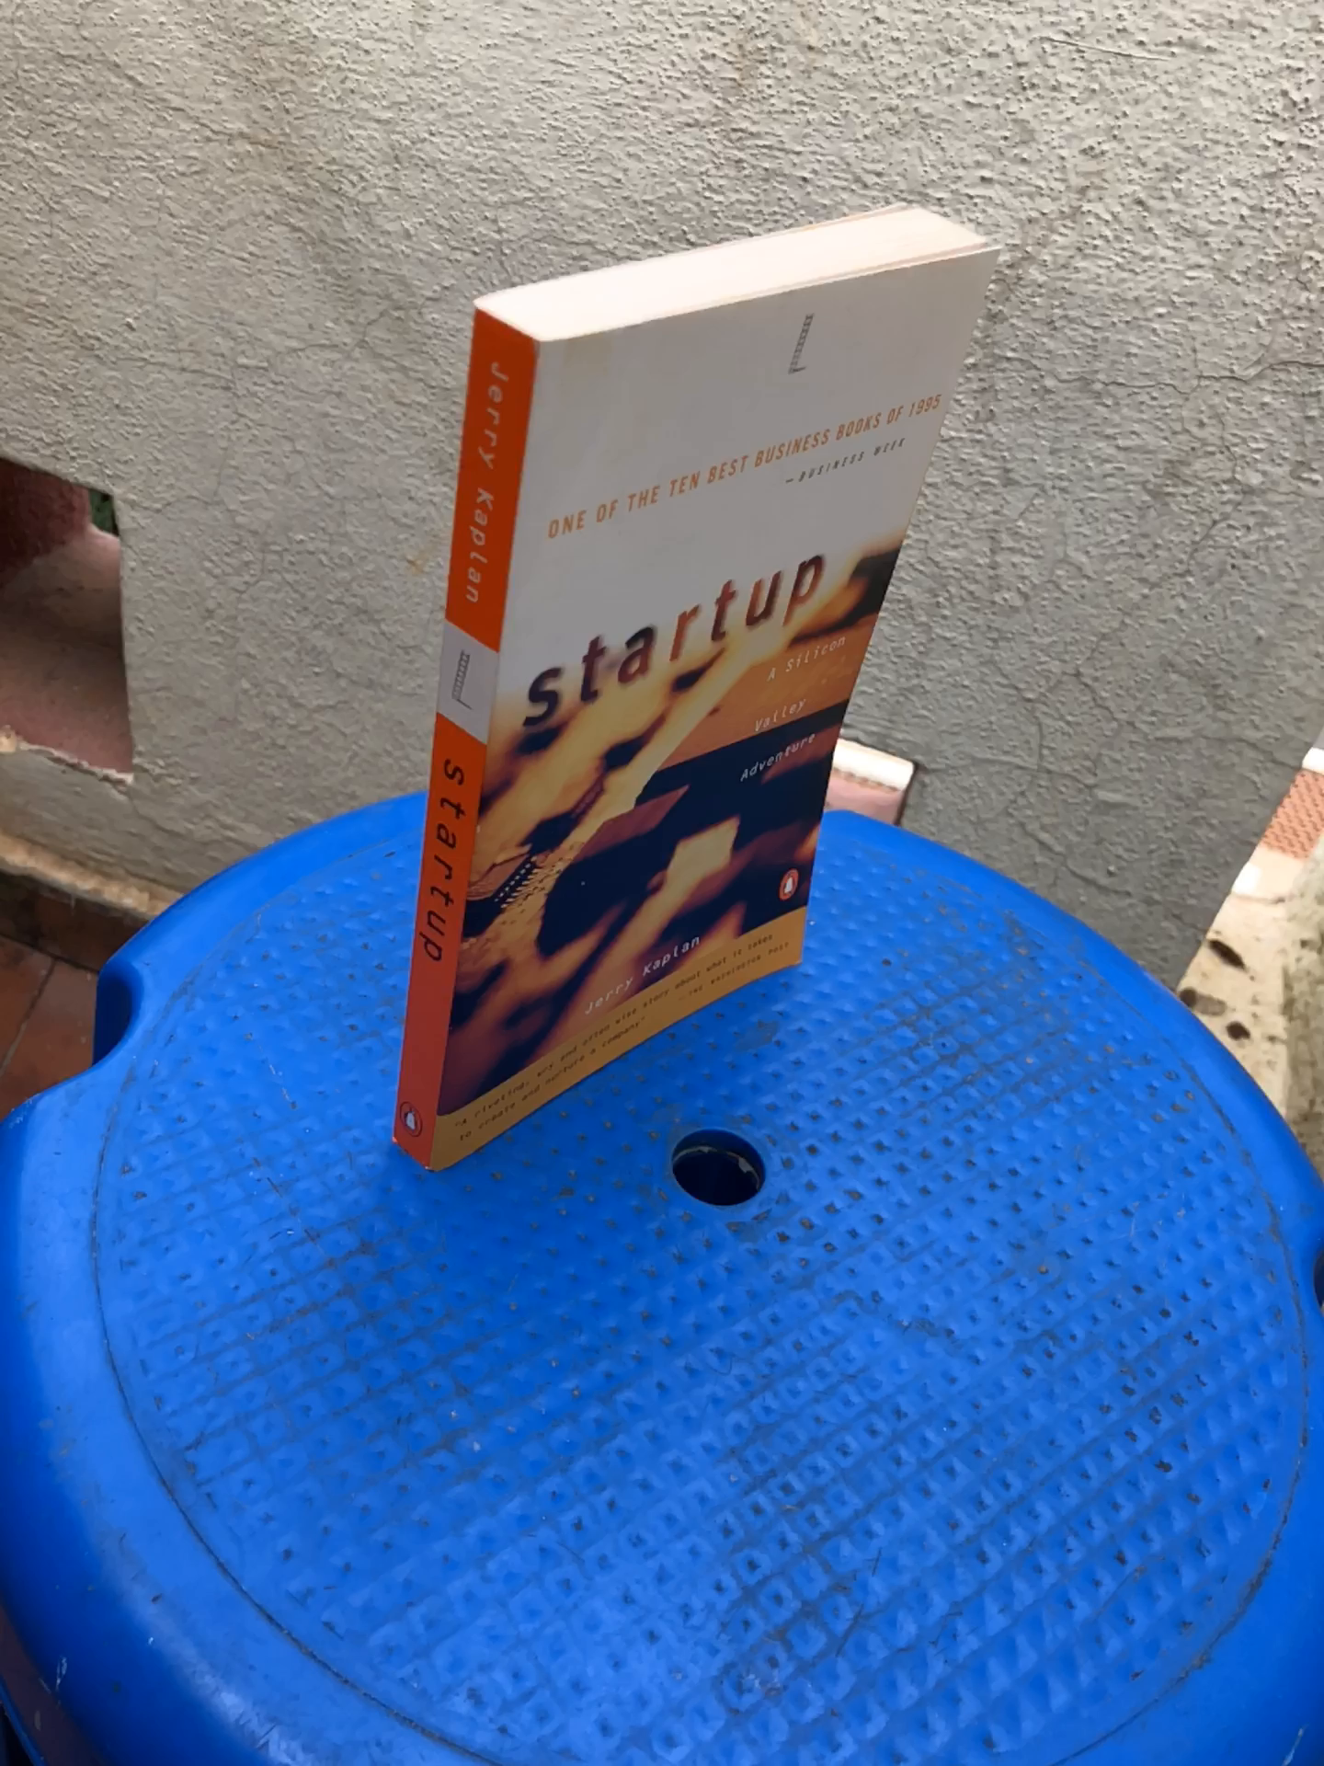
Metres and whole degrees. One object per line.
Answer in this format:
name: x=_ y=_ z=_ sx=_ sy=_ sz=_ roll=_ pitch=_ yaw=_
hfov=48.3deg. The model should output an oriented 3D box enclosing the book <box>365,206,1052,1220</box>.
book: x=0.005 y=-0.034 z=0.325 sx=0.030 sy=0.199 sz=0.141 roll=36 pitch=44 yaw=25
